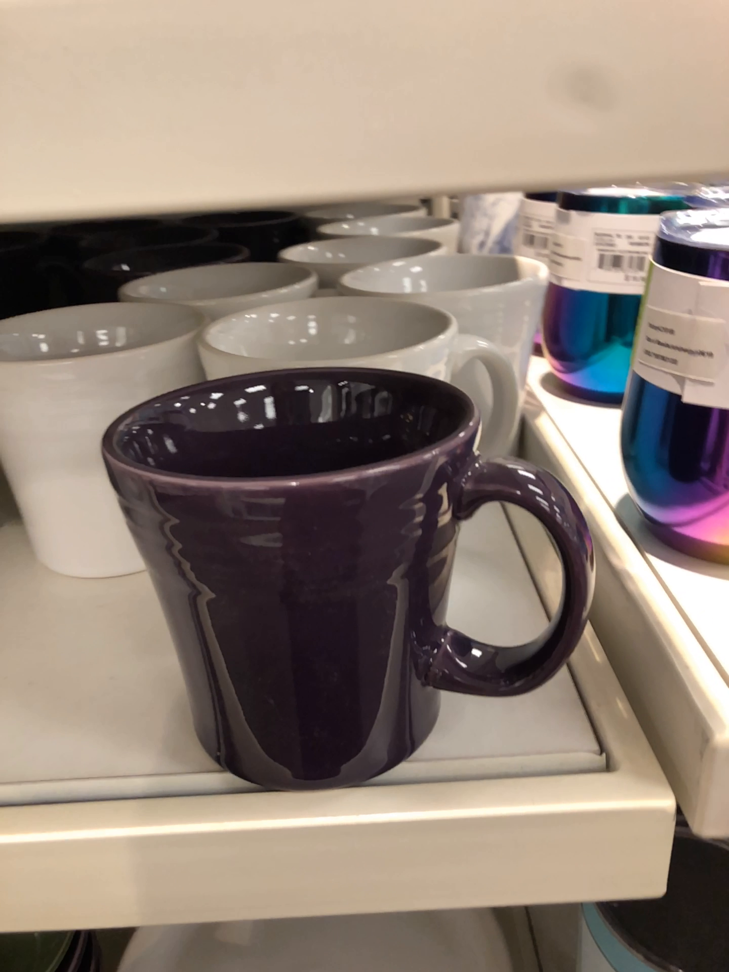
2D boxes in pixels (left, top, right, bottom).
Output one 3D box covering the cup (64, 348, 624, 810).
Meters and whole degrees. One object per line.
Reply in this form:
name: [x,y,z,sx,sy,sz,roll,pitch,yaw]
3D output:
cup: [-0.004,0.023,0.245,0.127,0.099,0.090,-3,26,0]
